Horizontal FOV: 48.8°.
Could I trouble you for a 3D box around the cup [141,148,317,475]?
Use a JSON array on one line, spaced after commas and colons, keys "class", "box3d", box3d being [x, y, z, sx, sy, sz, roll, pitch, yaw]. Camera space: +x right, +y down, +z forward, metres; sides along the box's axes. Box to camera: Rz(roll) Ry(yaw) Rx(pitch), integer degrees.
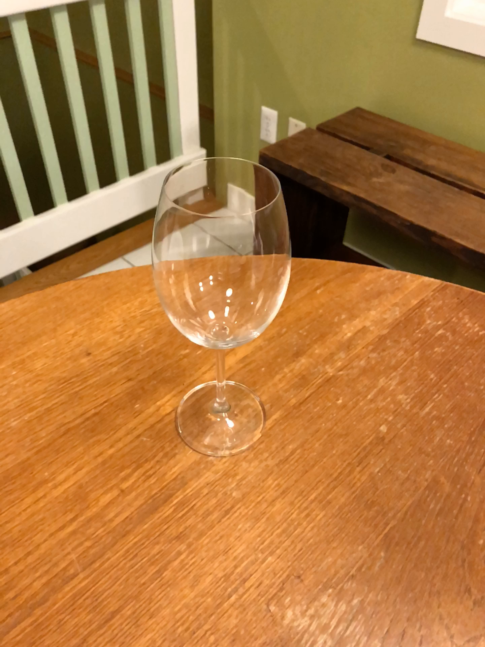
[{"class": "cup", "box3d": [-0.015, 0.003, 0.413, 0.097, 0.240, 0.101, 1, 43, -1]}]
